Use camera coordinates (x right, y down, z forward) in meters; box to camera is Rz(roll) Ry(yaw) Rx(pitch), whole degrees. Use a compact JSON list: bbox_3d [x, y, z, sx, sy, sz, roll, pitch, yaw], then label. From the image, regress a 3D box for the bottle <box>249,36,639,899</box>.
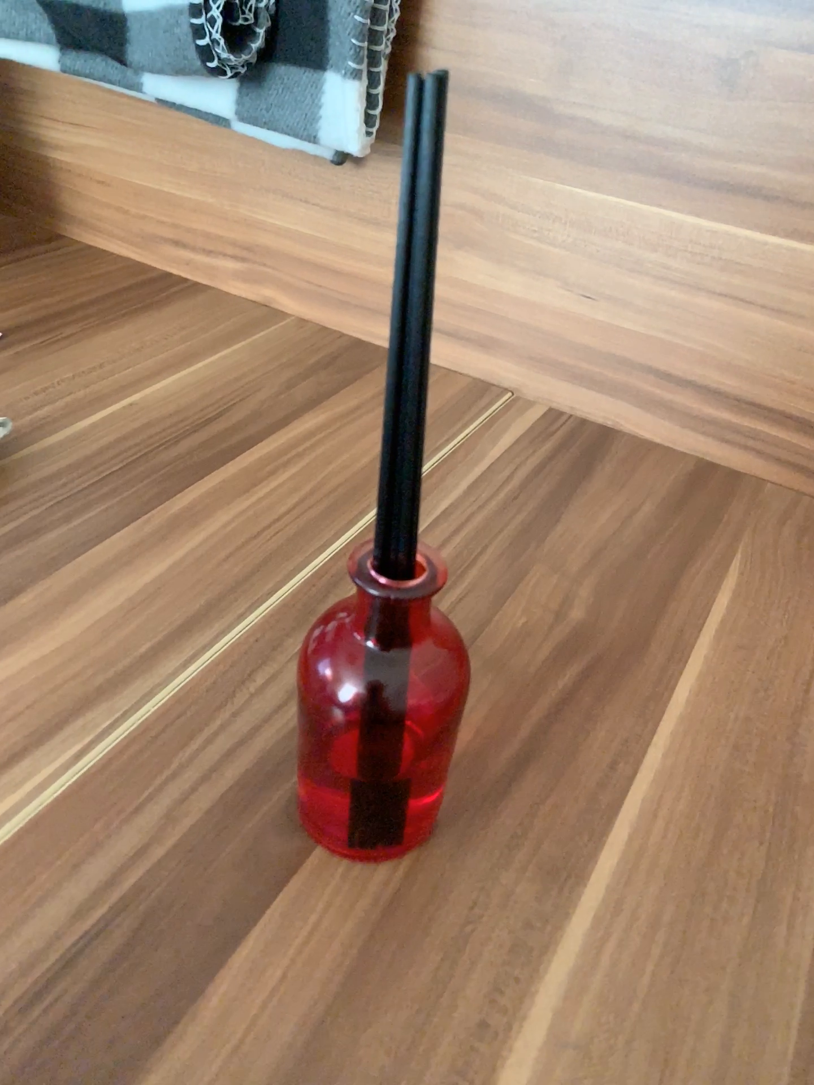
[{"bbox_3d":[-0.003,0.000,0.237,0.060,0.239,0.050,27,41,24],"label":"bottle"}]
